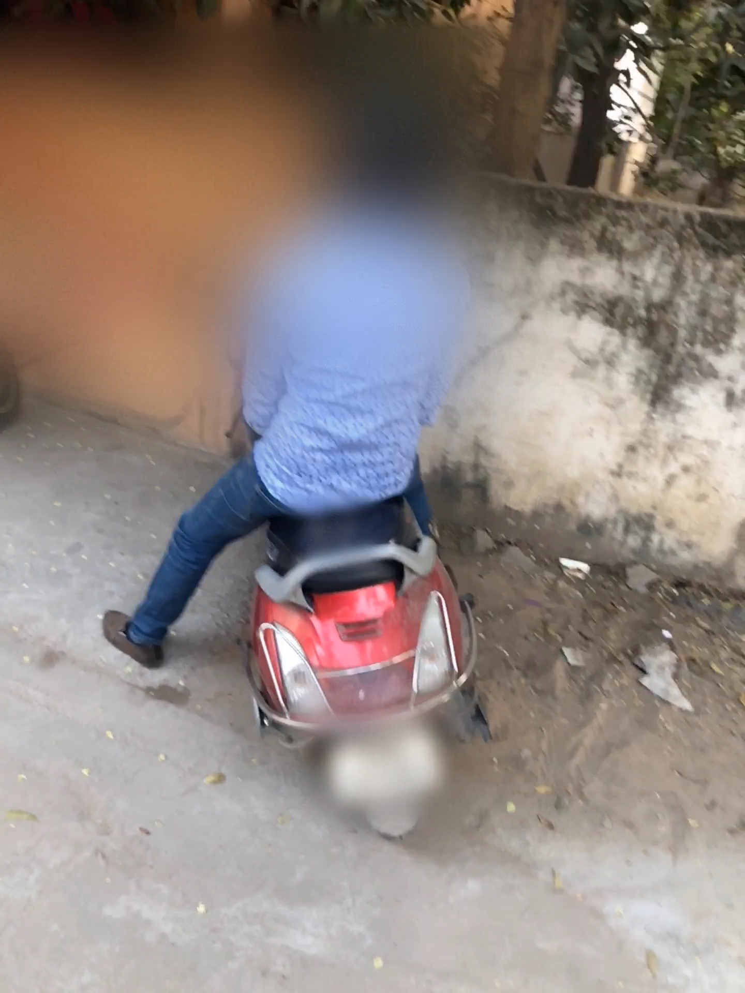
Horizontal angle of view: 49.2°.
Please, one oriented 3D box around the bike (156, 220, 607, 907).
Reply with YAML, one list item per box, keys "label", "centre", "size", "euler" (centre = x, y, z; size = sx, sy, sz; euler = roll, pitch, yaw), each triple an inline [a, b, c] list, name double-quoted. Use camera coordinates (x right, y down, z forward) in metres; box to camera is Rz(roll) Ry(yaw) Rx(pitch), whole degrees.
- label: "bike"
  centre: [-0.191, 0.026, 2.284]
  size: [0.723, 1.165, 1.509]
  euler: [0, 28, -17]
